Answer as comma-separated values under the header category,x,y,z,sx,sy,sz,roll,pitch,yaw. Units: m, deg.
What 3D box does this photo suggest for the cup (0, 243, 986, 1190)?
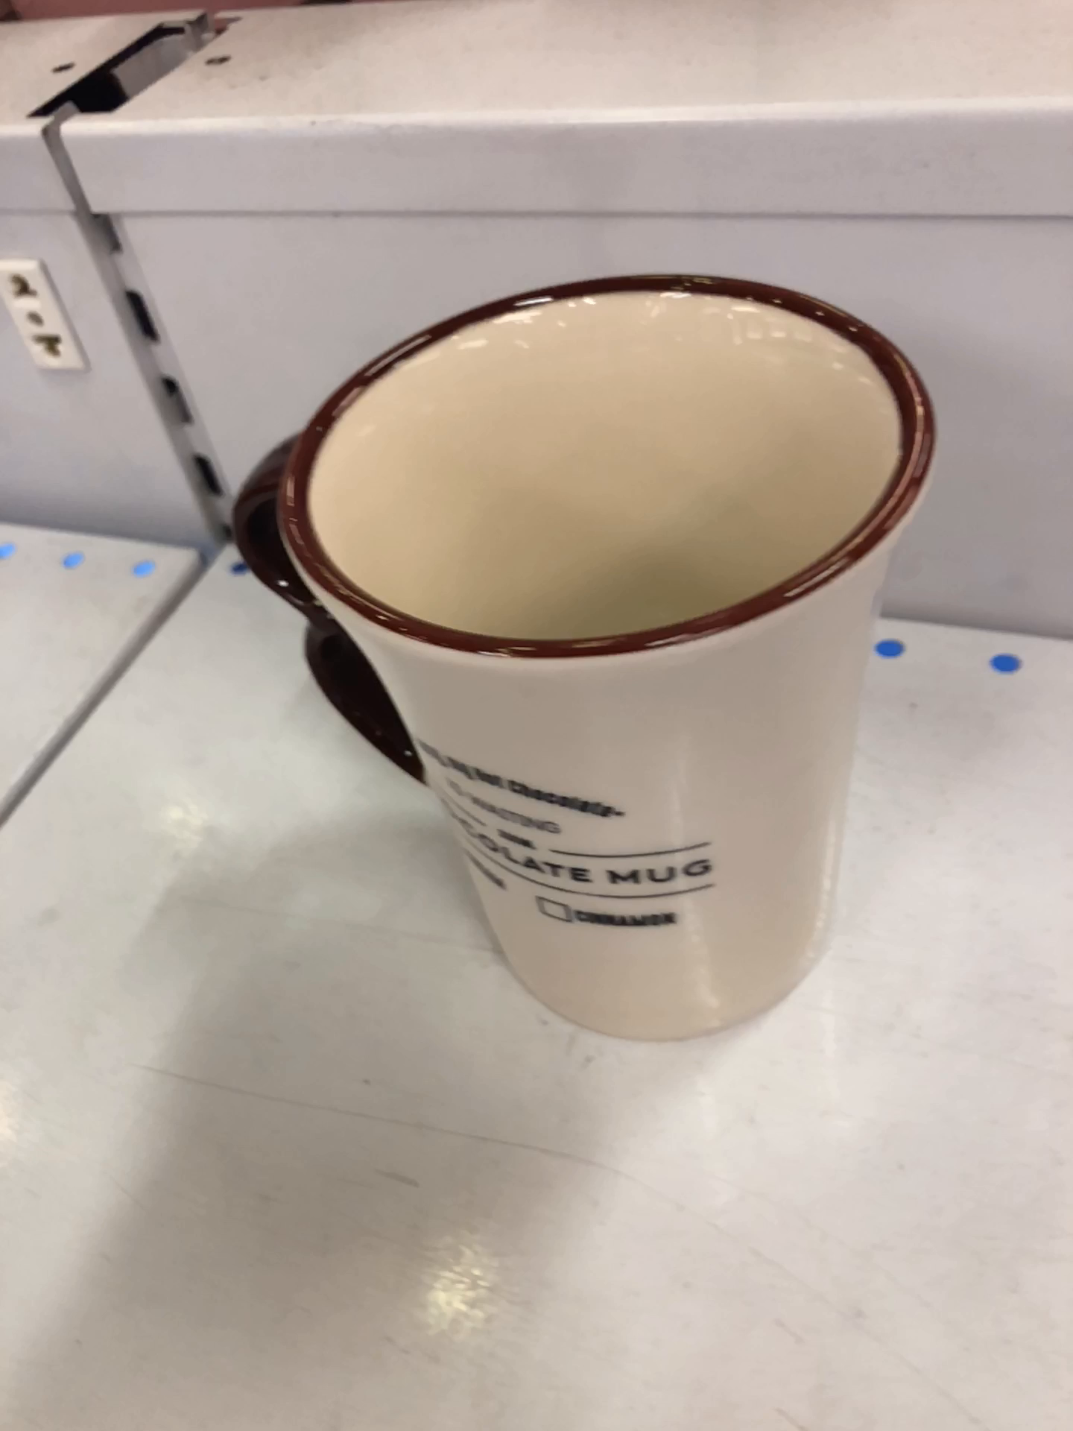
category,x,y,z,sx,sy,sz,roll,pitch,yaw
cup,0.000,-0.004,0.206,0.120,0.109,0.090,12,50,22
